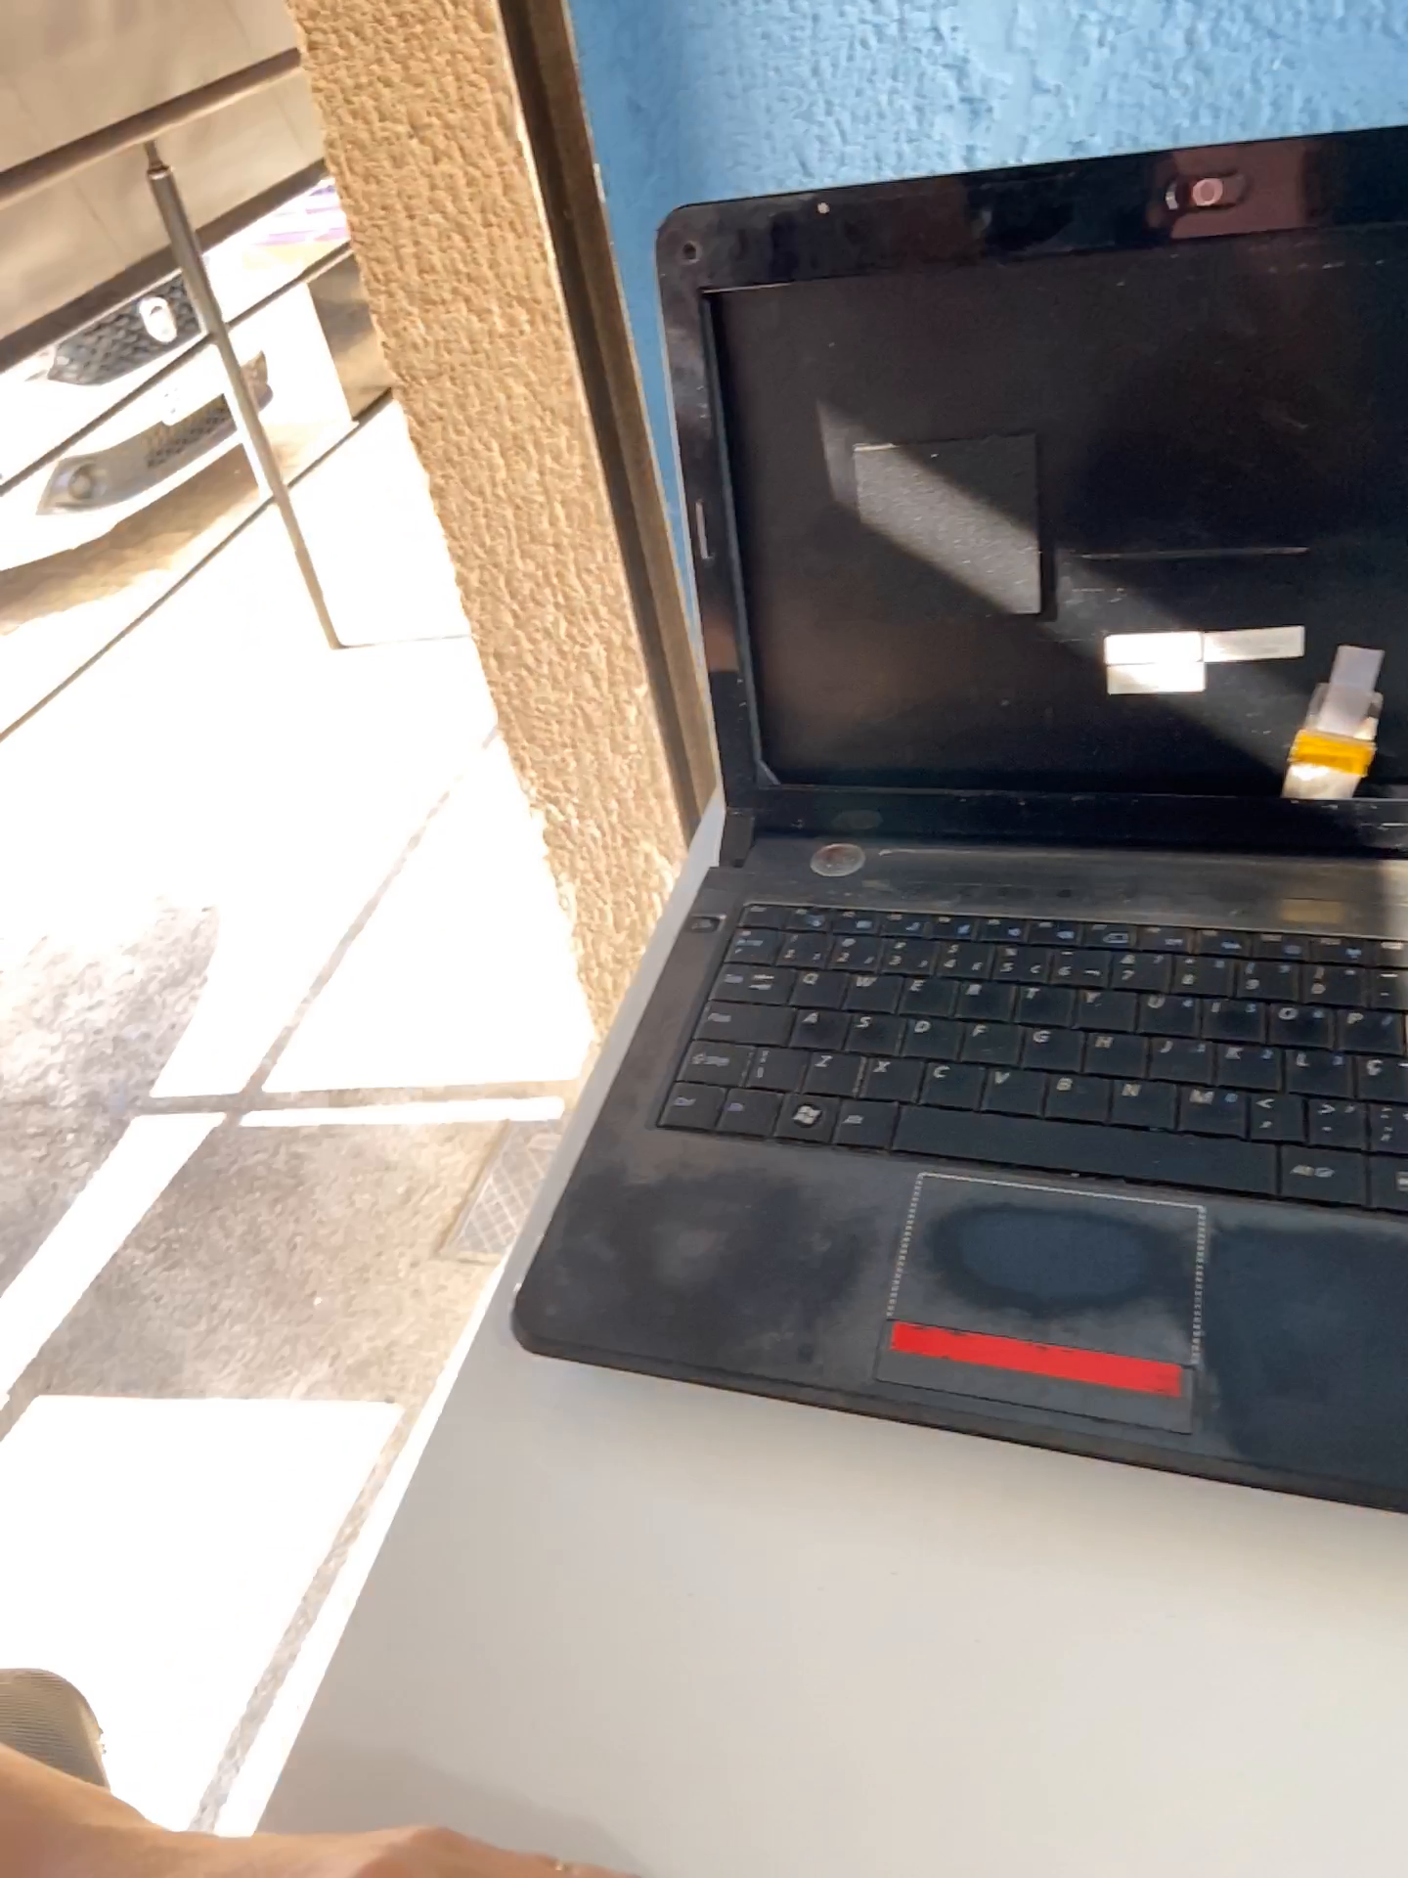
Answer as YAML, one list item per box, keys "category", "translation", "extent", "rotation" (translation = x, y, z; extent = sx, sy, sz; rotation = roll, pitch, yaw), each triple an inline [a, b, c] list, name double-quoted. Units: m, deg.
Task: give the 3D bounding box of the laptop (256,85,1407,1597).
- category: "laptop"
  translation: [0.125, -0.051, 0.387]
  extent: [0.334, 0.216, 0.277]
  rotation: [4, 42, 19]
